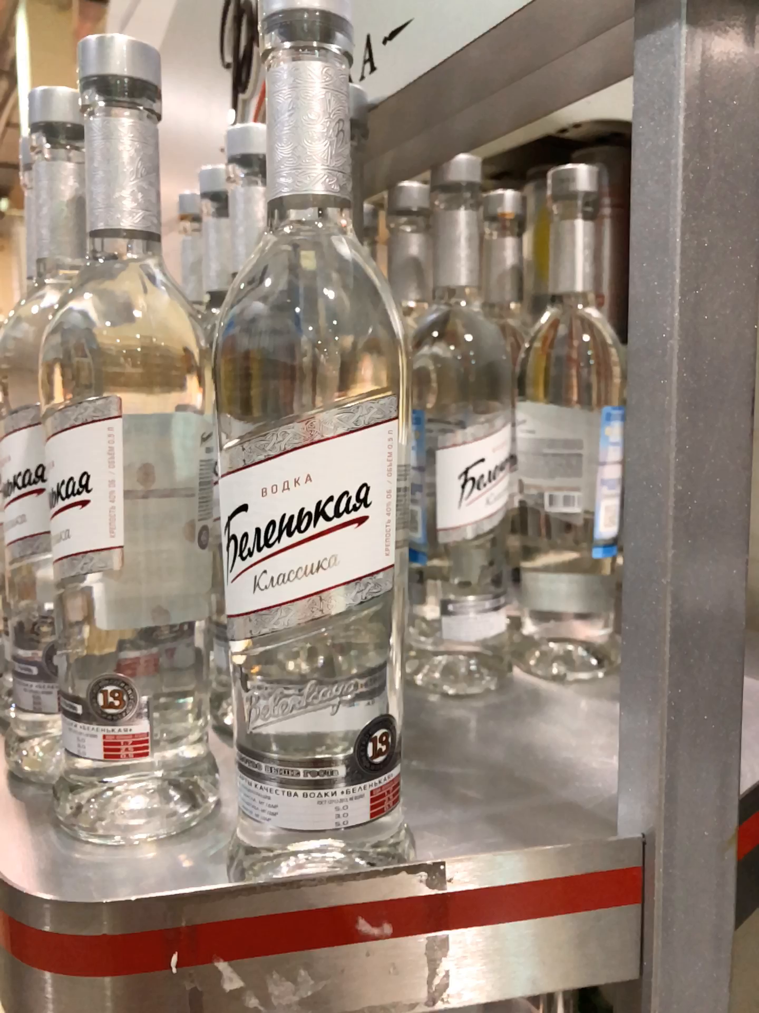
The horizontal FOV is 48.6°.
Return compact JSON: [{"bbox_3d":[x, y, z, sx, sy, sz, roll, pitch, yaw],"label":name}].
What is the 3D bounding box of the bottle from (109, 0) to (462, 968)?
[{"bbox_3d":[-0.022,-0.028,0.274,0.080,0.309,0.080,-1,6,0],"label":"bottle"}]
